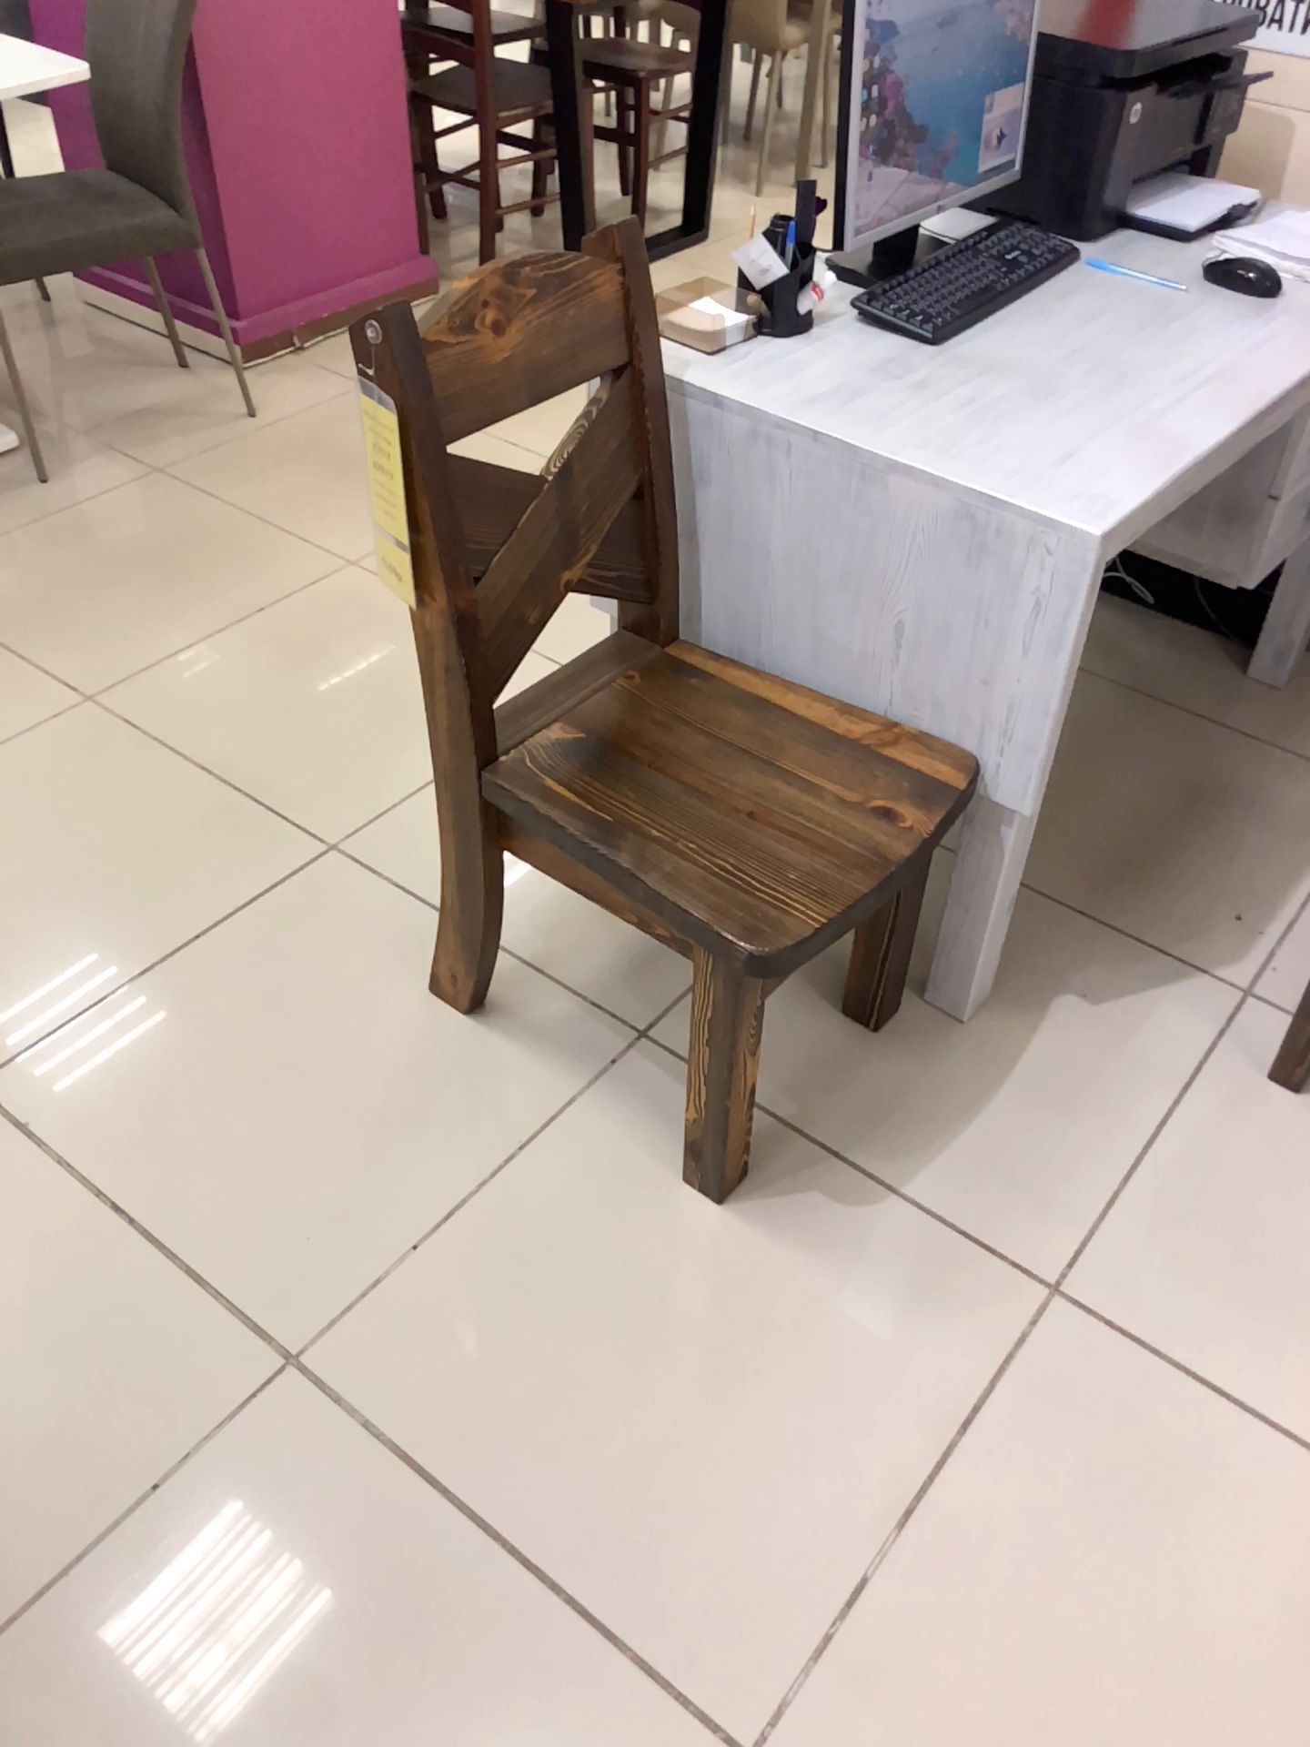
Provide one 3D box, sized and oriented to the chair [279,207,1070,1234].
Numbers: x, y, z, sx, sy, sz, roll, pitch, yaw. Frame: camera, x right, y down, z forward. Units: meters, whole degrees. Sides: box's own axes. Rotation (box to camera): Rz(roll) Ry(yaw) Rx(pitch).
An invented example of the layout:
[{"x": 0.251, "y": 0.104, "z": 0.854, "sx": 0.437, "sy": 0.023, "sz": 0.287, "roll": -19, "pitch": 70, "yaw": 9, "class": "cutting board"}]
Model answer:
[{"x": 0.008, "y": -0.161, "z": 1.614, "sx": 0.571, "sy": 0.895, "sz": 0.452, "roll": 28, "pitch": 47, "yaw": 26, "class": "chair"}]
